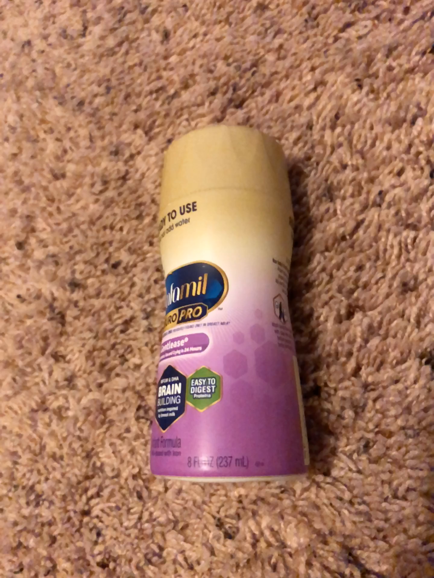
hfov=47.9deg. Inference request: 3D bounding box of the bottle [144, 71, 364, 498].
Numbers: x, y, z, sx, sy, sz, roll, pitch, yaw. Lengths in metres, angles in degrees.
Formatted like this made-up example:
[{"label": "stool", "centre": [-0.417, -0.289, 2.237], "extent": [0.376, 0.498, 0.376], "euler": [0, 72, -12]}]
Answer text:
[{"label": "bottle", "centre": [0.009, 0.000, 0.200], "extent": [0.060, 0.060, 0.150], "euler": [141, 131, -63]}]
